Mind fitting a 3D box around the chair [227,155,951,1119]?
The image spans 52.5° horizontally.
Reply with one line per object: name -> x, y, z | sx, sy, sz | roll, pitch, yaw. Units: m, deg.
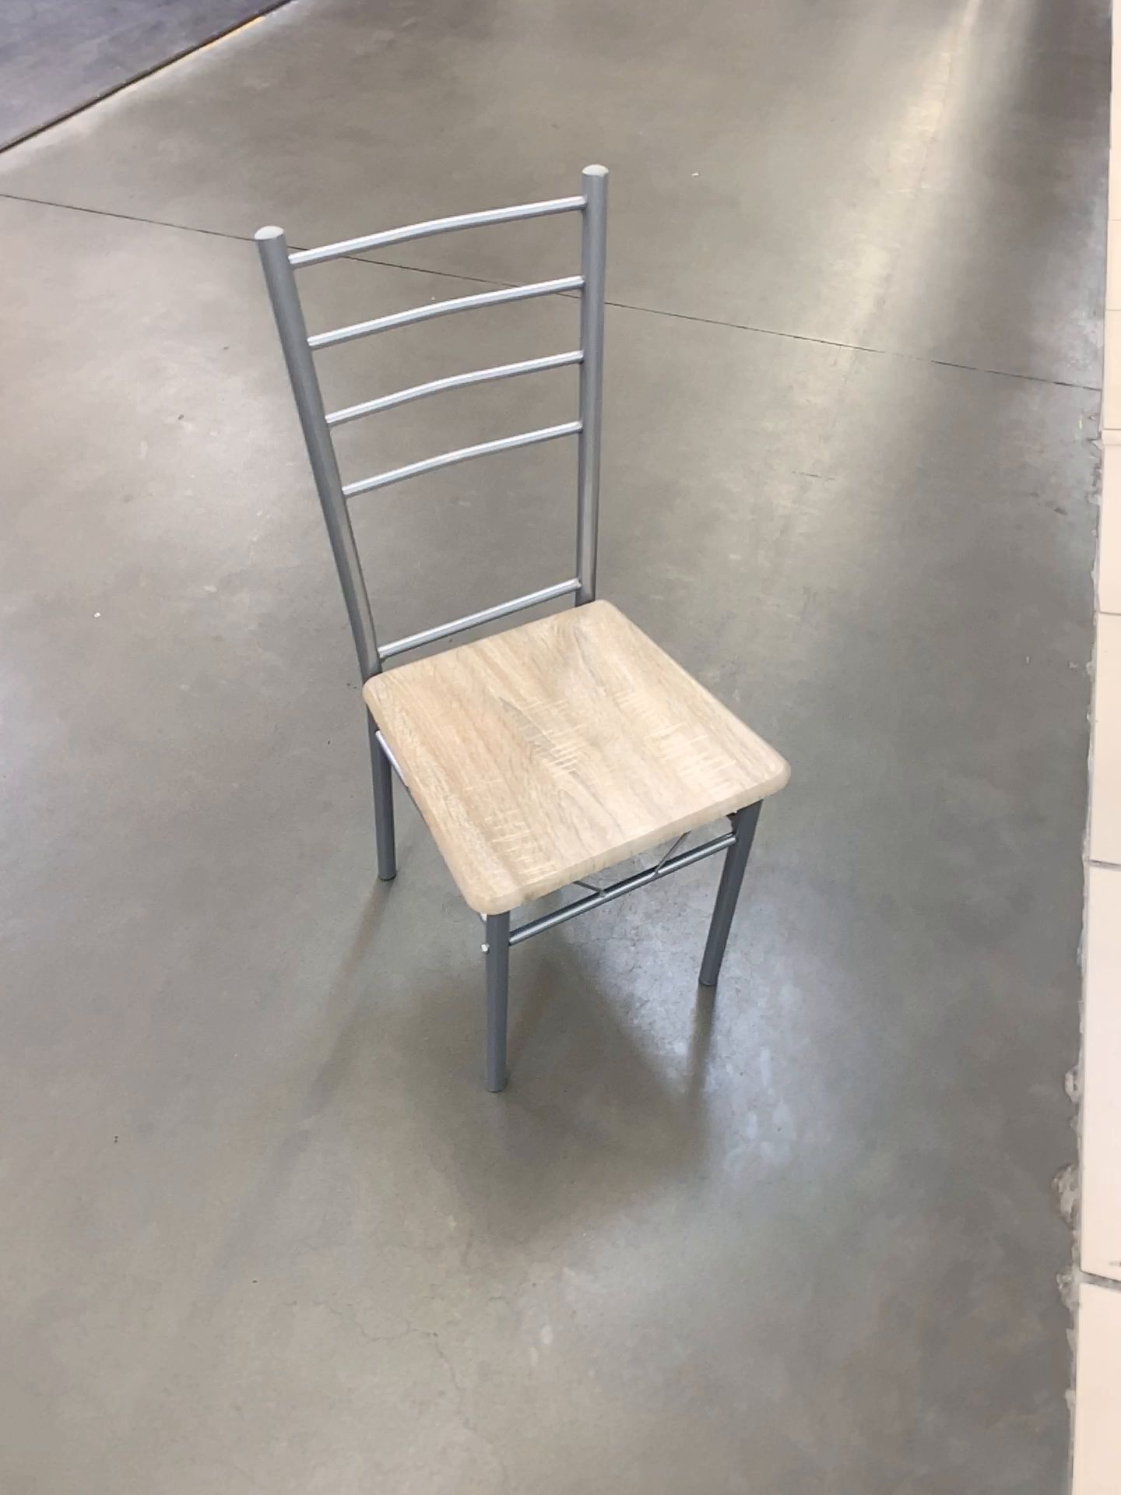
chair -> -0.011, -0.081, 1.220 | 0.410, 0.836, 0.472 | -20, 50, -20
